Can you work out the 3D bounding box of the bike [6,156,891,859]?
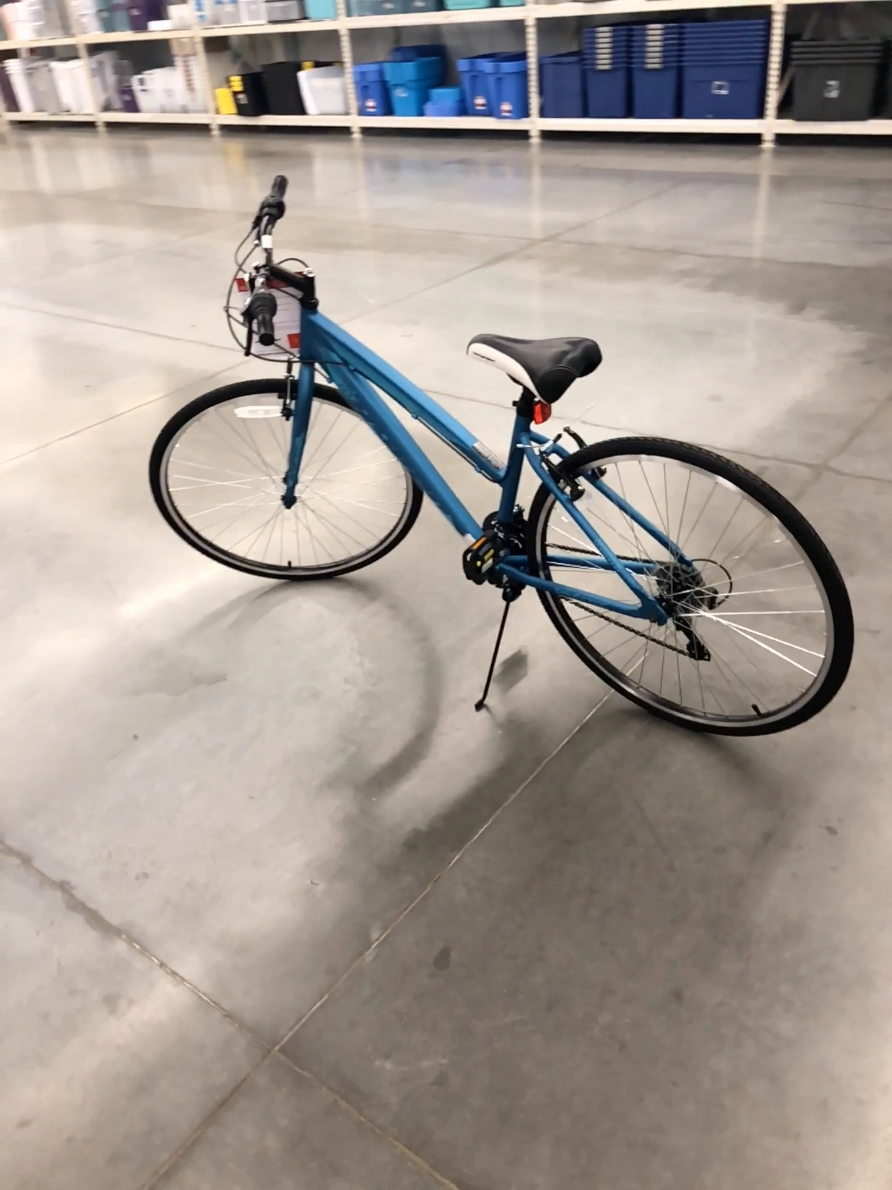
[{"bbox_3d":[0.012,-0.297,1.986,1.608,0.978,0.580,15,36,27],"label":"bike"}]
